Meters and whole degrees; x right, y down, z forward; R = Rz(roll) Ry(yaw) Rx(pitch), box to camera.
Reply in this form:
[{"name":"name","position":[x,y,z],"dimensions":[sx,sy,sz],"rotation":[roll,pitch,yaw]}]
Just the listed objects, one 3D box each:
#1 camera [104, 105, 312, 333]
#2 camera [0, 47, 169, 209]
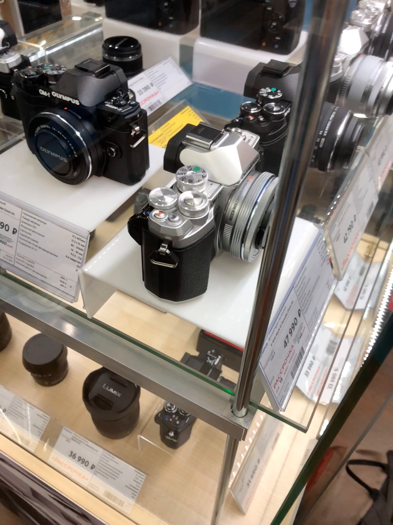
[{"name":"camera","position":[0.012,-0.034,0.274],"dimensions":[0.073,0.067,0.123],"rotation":[22,48,18]},{"name":"camera","position":[-0.088,-0.107,0.336],"dimensions":[0.109,0.068,0.079],"rotation":[23,48,19]}]
